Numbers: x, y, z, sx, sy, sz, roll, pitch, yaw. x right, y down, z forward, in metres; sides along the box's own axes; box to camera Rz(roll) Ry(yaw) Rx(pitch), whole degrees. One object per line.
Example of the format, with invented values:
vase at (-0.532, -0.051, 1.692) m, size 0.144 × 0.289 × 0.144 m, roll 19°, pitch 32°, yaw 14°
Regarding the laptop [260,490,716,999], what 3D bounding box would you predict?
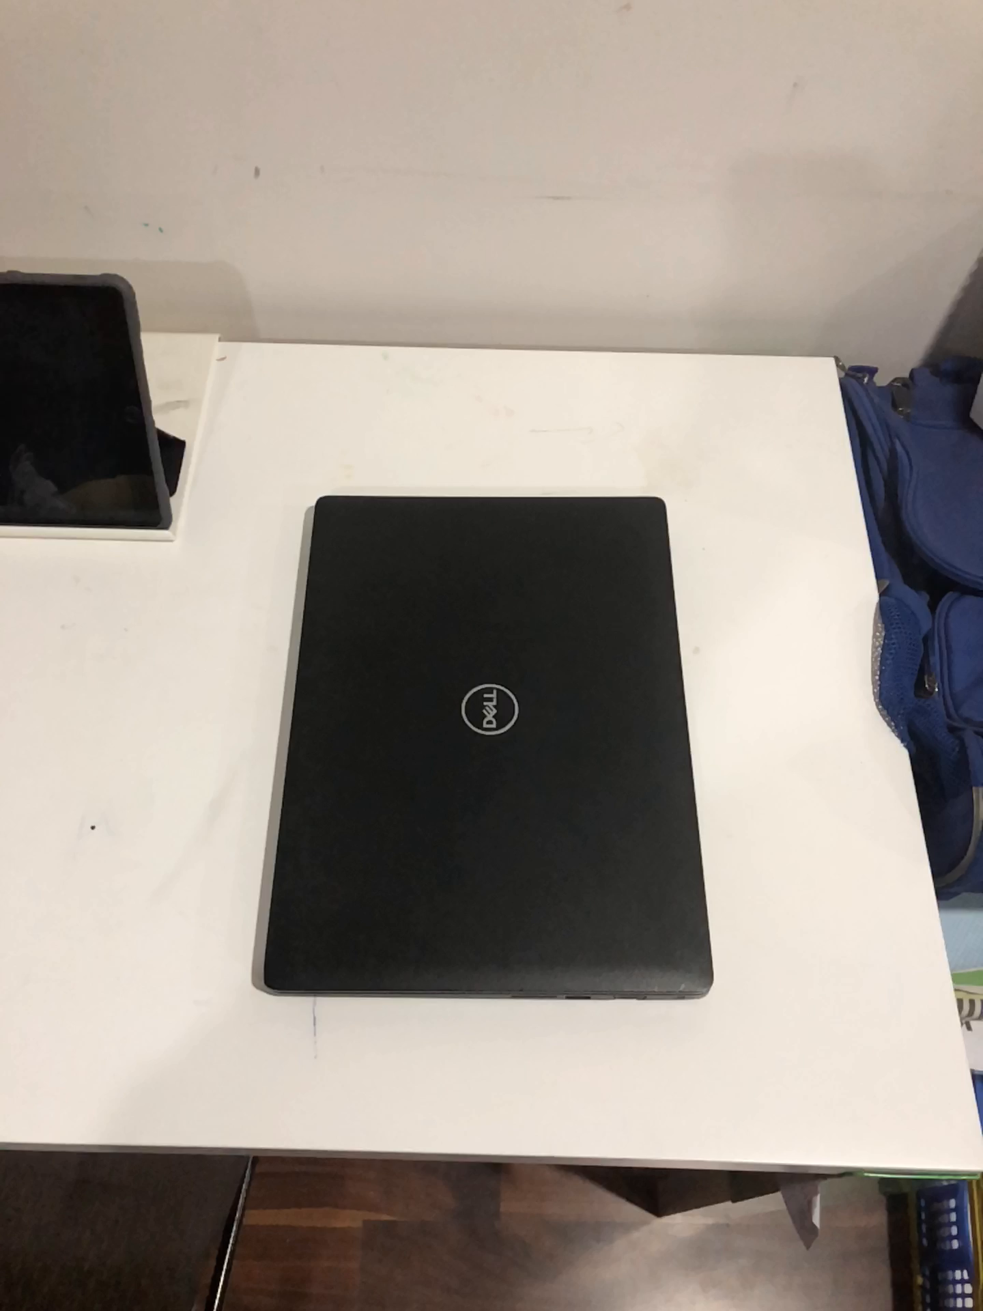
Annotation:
laptop at (-0.002, 0.035, 0.656) m, size 0.241 × 0.010 × 0.333 m, roll -1°, pitch 60°, yaw 2°
